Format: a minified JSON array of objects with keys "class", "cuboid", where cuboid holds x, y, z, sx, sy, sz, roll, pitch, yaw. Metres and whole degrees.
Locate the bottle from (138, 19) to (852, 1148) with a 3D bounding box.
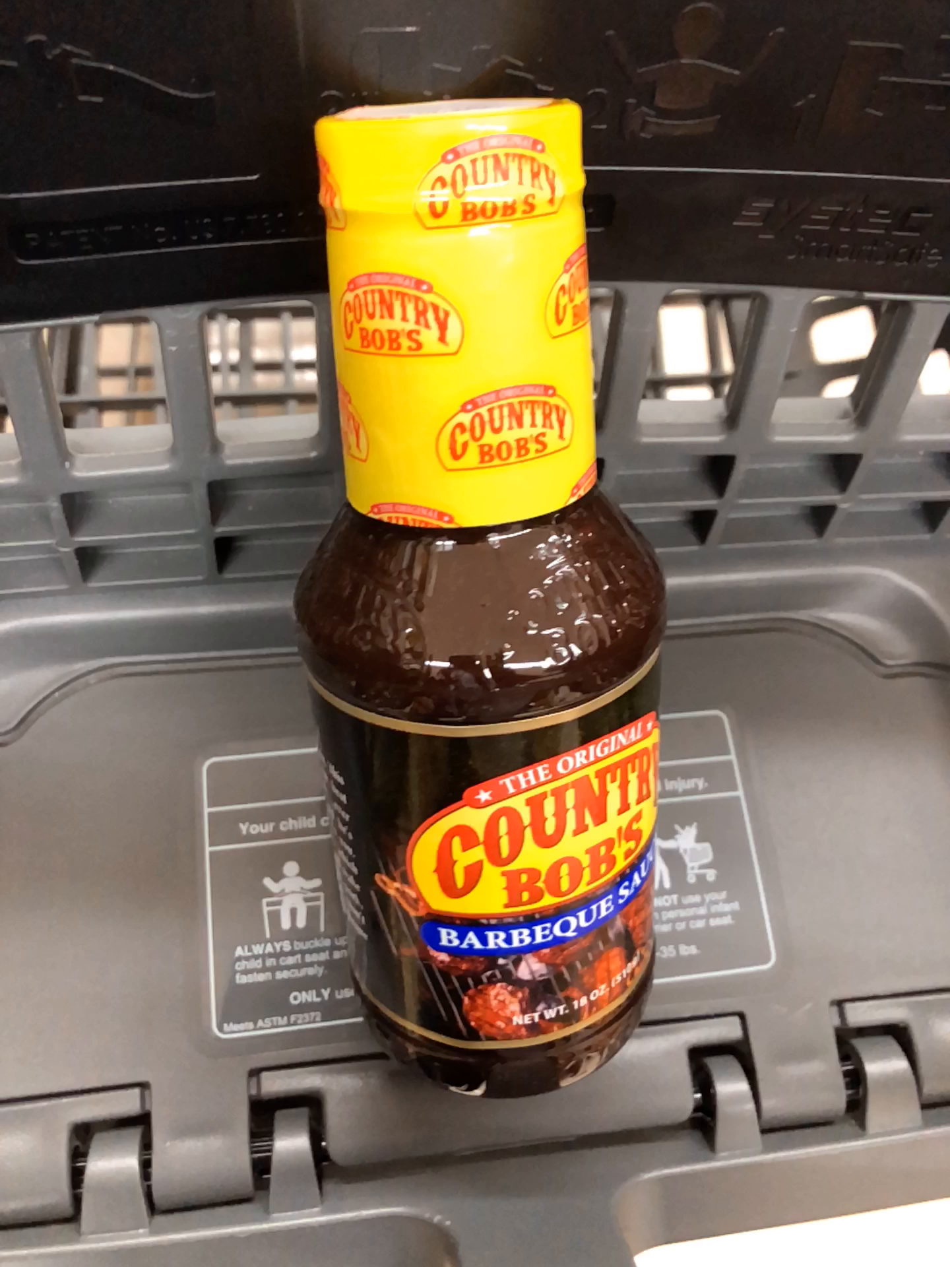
[{"class":"bottle","cuboid":[-0.004,-0.010,0.194,0.080,0.080,0.170,-10,118,-20]}]
